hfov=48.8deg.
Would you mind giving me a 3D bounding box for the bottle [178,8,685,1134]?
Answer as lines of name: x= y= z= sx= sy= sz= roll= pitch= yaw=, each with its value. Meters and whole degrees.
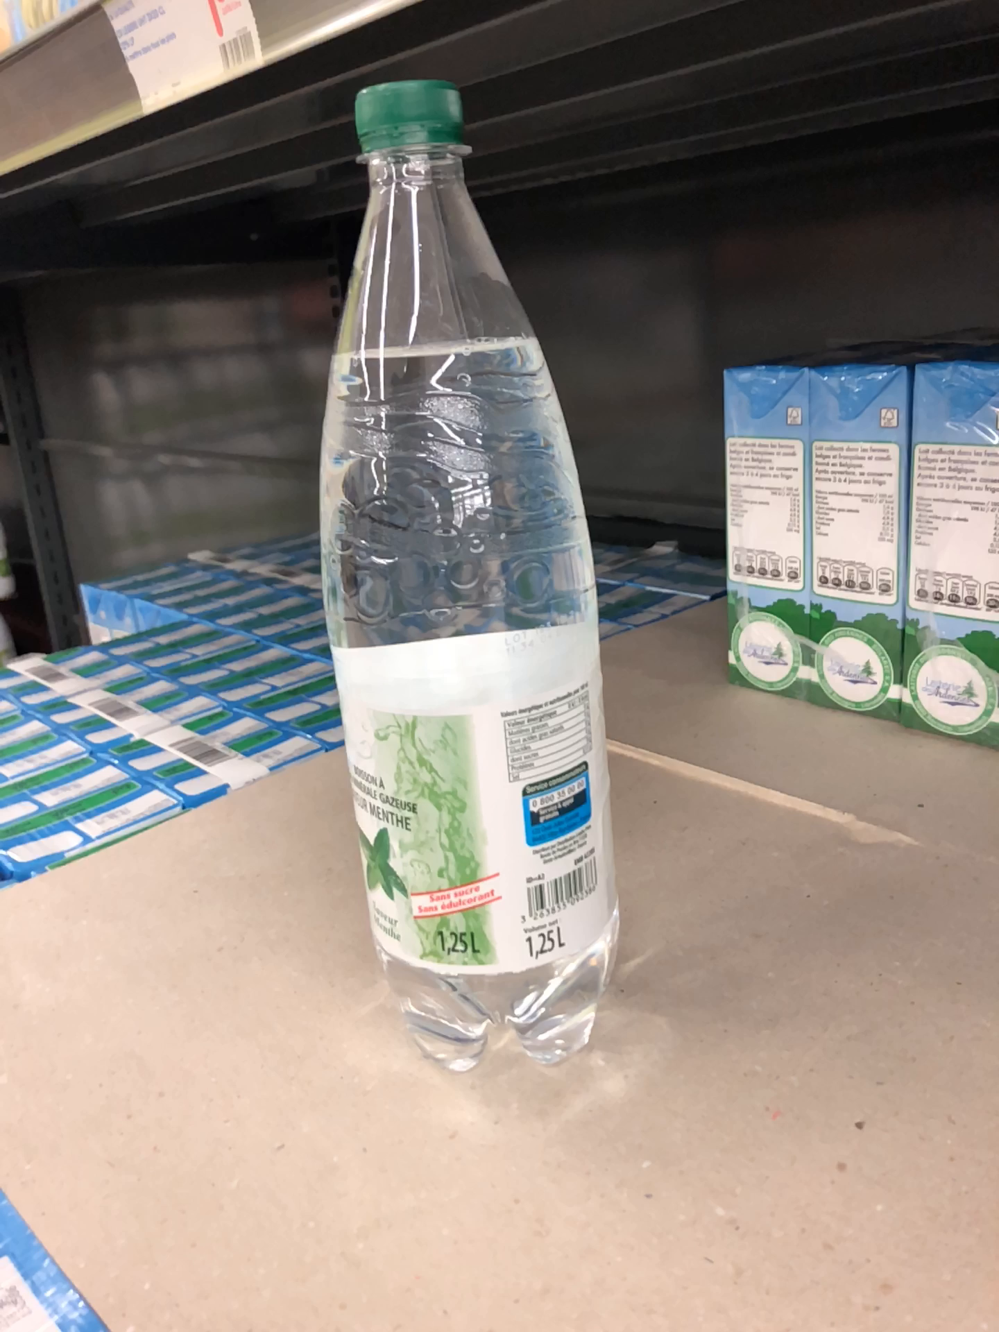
bottle: x=-0.014 y=-0.023 z=0.350 sx=0.090 sy=0.299 sz=0.100 roll=-17 pitch=21 yaw=-34
